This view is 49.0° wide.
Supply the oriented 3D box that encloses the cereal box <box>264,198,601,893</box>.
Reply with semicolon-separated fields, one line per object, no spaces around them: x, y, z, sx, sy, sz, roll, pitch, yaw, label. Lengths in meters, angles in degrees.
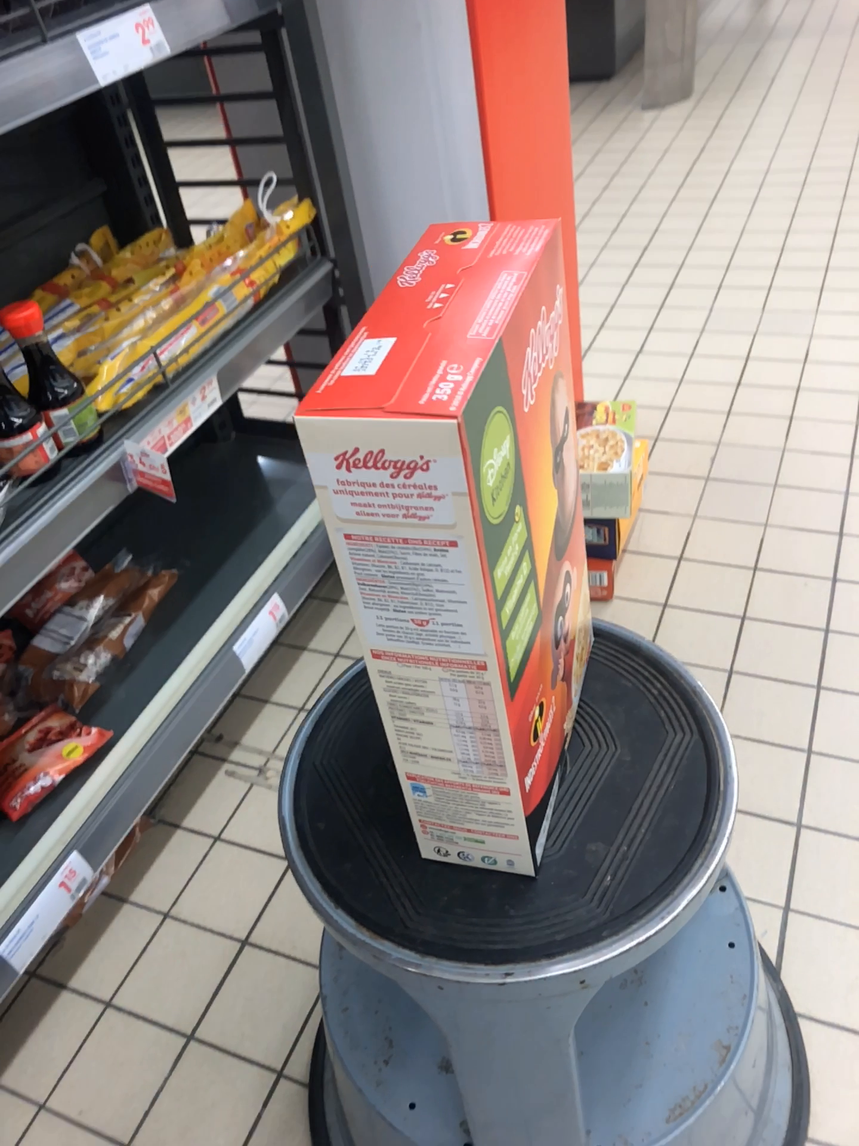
0.029;-0.009;0.510;0.080;0.308;0.201;4;41;19;cereal box
